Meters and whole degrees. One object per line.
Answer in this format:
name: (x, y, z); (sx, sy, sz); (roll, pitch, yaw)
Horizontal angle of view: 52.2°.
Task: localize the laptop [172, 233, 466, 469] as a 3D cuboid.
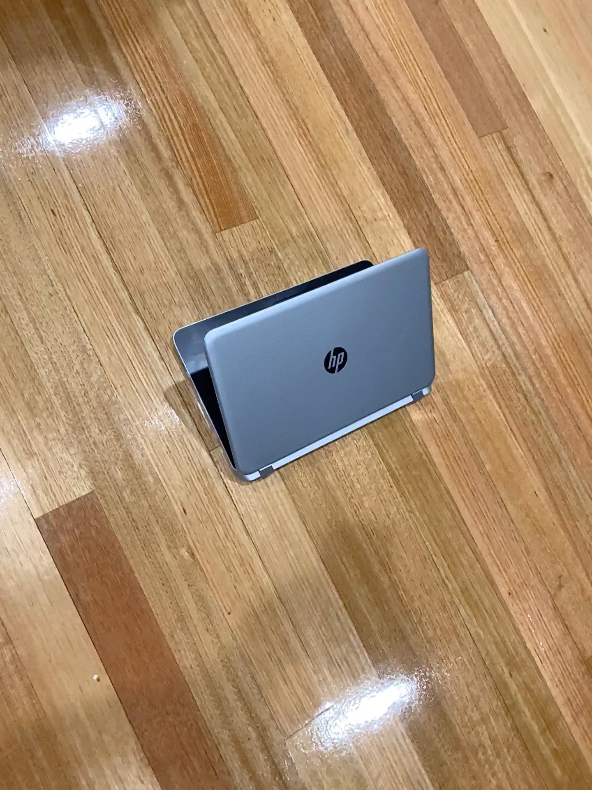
laptop: (0.034, -0.064, 0.845); (0.333, 0.102, 0.209); (-24, 88, -21)
